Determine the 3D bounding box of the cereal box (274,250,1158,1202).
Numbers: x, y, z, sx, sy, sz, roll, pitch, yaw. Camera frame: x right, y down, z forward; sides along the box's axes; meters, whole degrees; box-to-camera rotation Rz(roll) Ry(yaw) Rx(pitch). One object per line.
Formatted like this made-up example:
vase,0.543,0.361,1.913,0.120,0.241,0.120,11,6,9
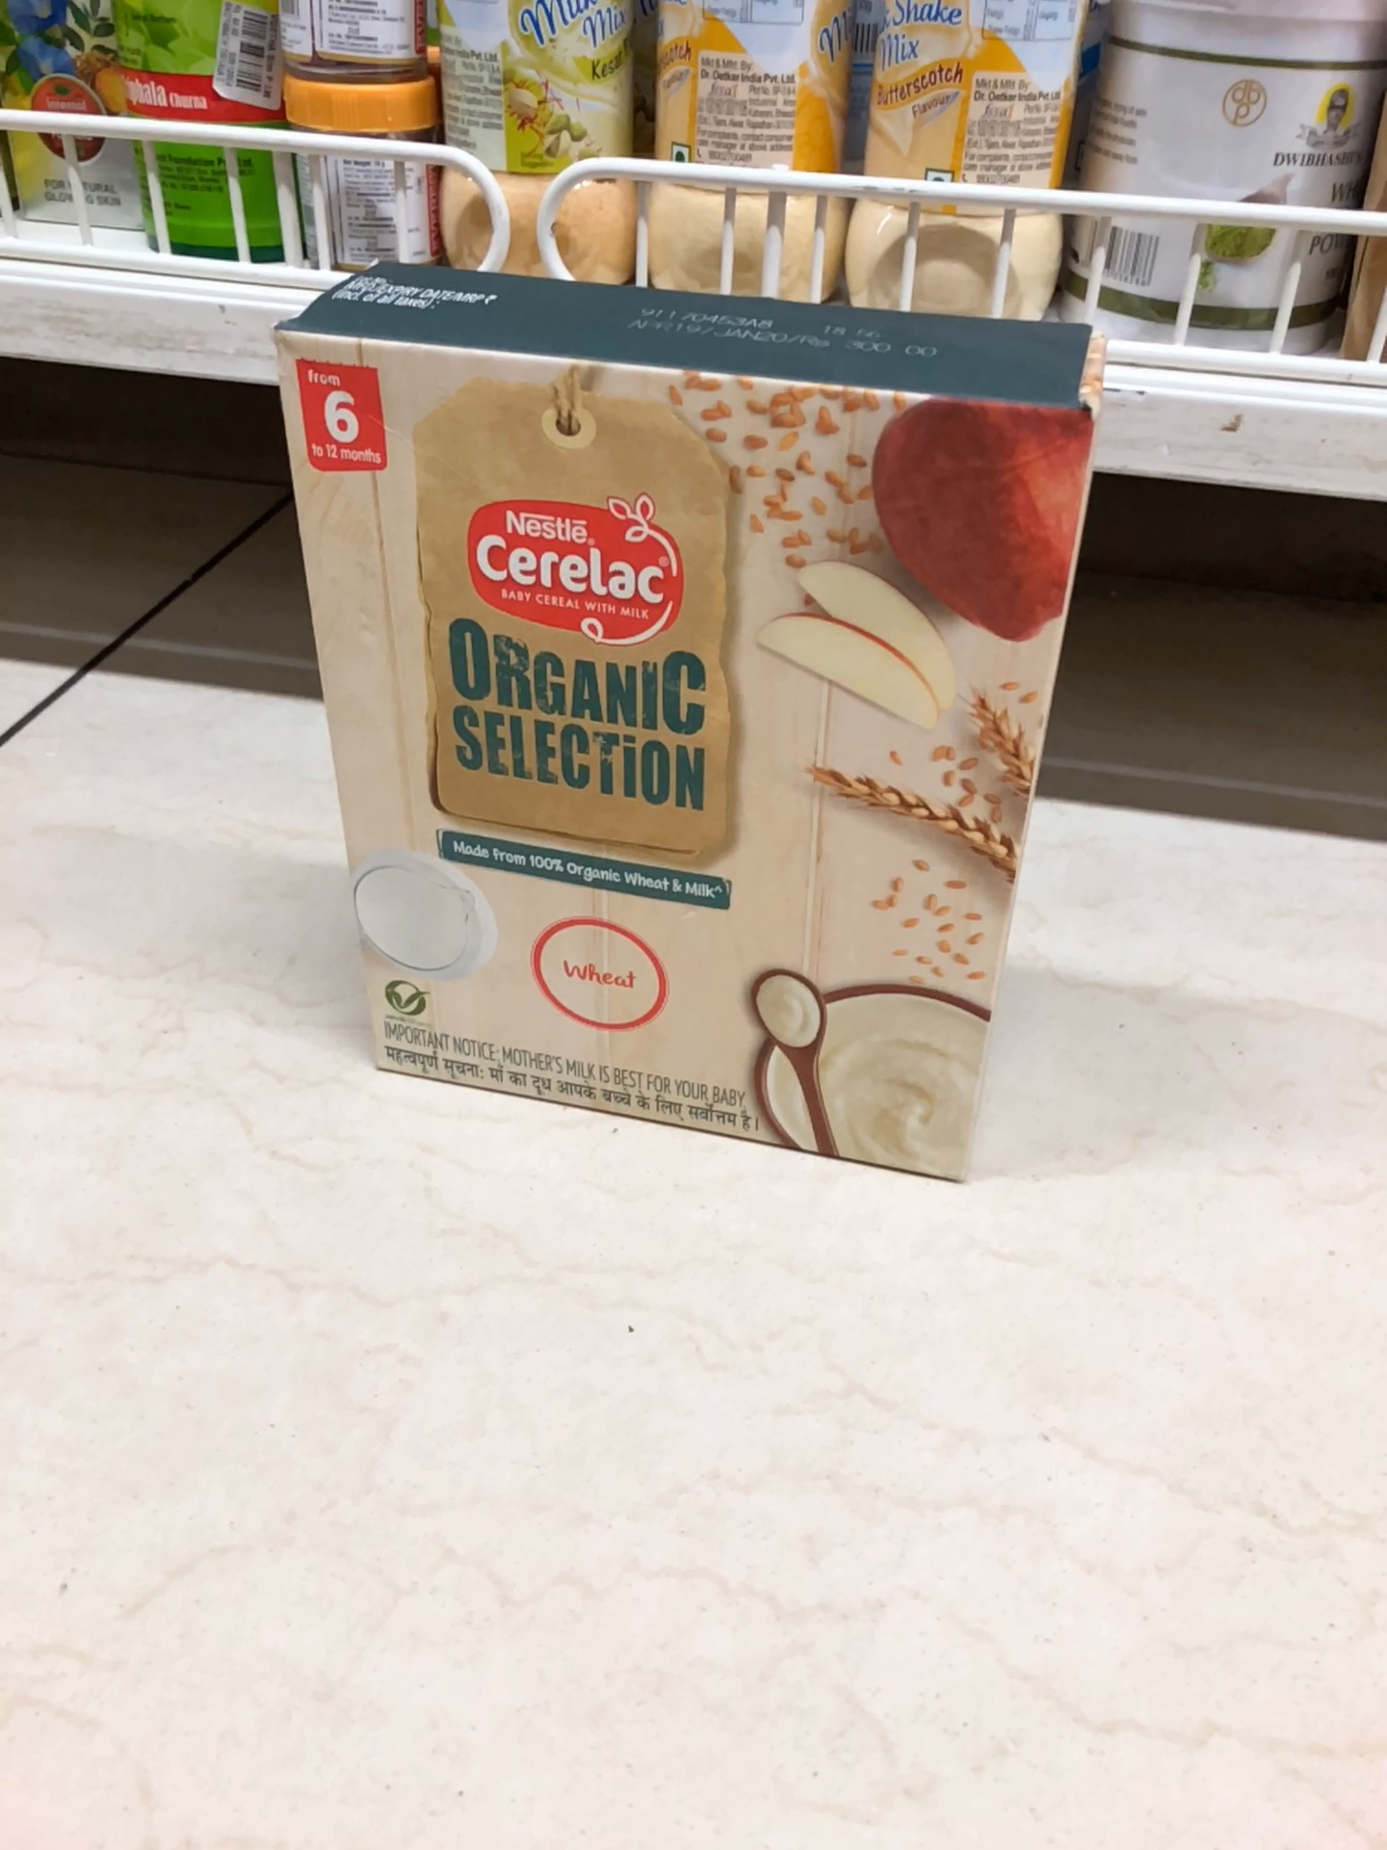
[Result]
cereal box,0.003,-0.038,0.345,0.160,0.189,0.050,10,36,10
